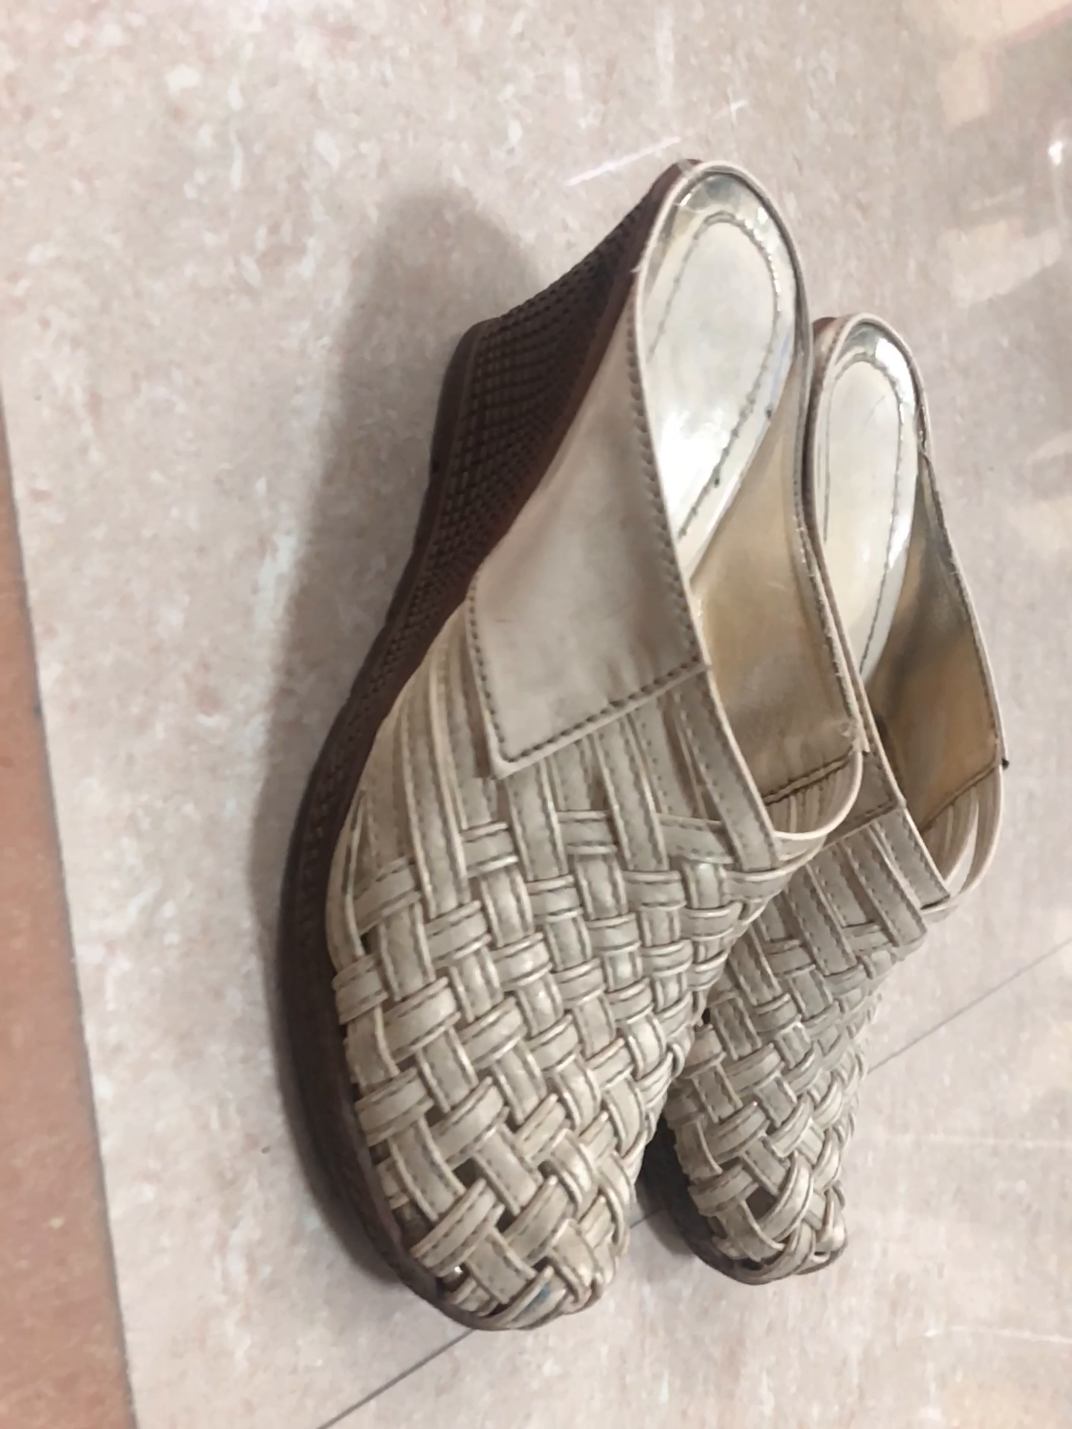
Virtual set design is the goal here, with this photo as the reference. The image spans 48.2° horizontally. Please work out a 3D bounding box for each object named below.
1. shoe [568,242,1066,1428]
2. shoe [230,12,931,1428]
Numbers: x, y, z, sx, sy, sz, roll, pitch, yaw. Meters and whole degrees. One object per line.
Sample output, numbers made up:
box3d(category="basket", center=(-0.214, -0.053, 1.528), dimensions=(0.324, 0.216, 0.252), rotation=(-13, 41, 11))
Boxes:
box3d(category="shoe", center=(0.070, 0.025, 0.302), dimensions=(0.091, 0.080, 0.240), rotation=(7, 81, -43))
box3d(category="shoe", center=(0.018, 0.005, 0.246), dimensions=(0.091, 0.080, 0.240), rotation=(19, 72, -43))
